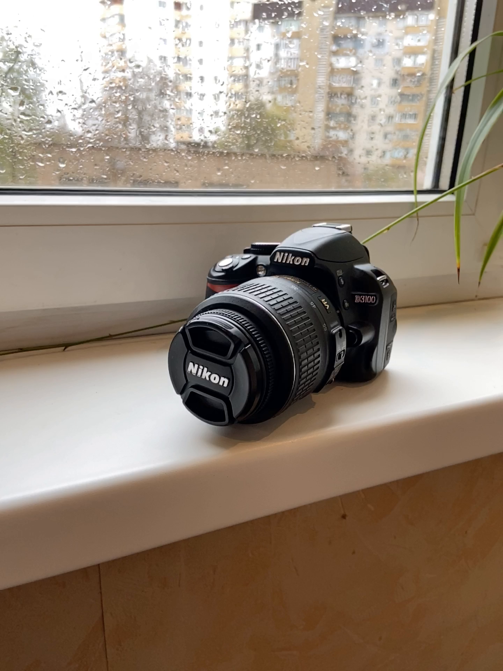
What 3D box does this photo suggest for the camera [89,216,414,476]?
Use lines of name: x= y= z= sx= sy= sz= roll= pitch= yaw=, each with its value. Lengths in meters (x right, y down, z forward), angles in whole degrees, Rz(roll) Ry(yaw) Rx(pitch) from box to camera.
camera: x=0.009 y=-0.014 z=0.315 sx=0.121 sy=0.092 sz=0.159 roll=13 pitch=22 yaw=30
